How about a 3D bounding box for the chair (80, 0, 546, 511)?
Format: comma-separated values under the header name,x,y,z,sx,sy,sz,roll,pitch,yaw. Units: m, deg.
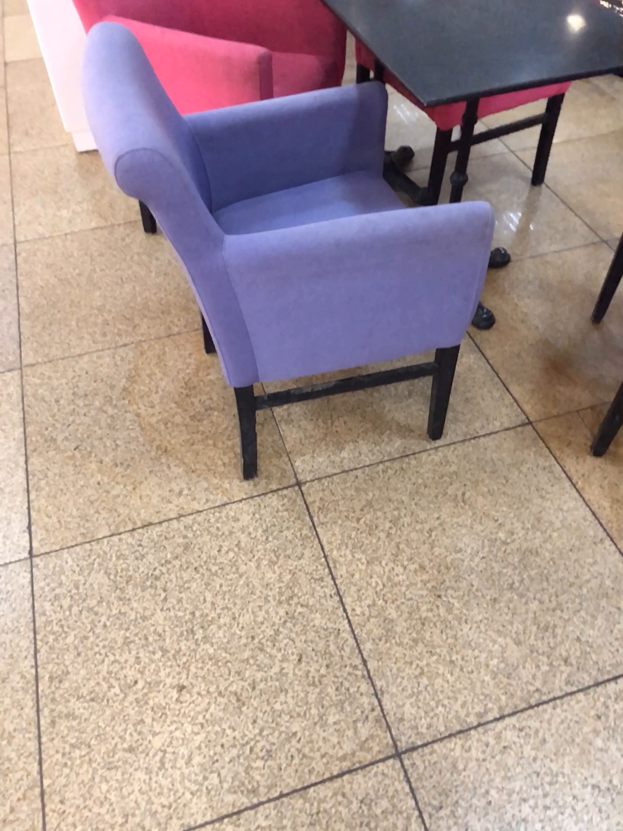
name,x,y,z,sx,sy,sz,roll,pitch,yaw
chair,-0.038,-0.345,1.419,0.610,0.817,0.592,-14,50,-11
